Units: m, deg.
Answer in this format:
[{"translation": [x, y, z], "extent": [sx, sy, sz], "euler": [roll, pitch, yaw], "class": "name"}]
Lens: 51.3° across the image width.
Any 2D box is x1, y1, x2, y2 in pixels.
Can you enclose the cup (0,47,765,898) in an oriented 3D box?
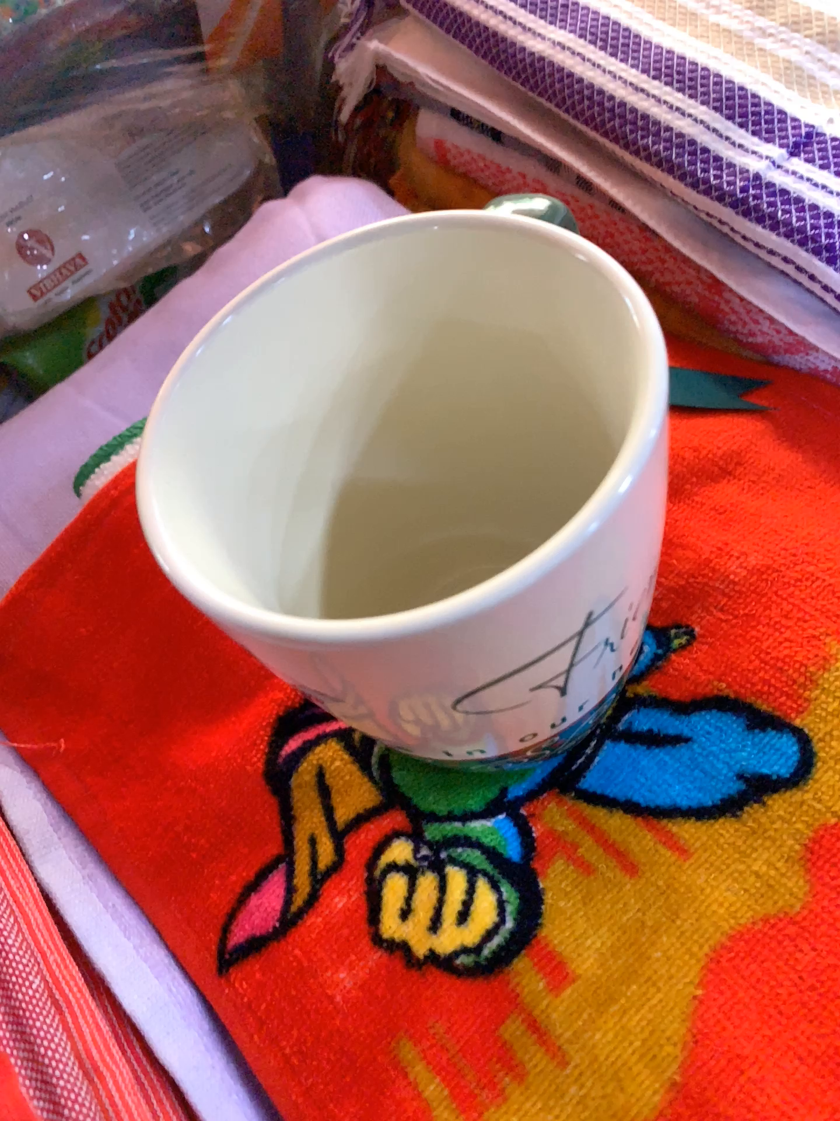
[{"translation": [0.006, -0.019, 0.185], "extent": [0.100, 0.094, 0.133], "euler": [10, 64, 21], "class": "cup"}]
